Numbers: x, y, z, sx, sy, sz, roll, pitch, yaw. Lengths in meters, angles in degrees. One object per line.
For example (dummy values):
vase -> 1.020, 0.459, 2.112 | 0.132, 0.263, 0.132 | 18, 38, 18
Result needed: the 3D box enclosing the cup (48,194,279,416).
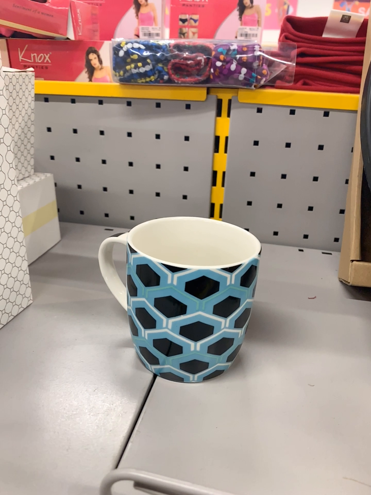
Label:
cup -> -0.014, 0.026, 0.267 | 0.120, 0.090, 0.090 | 16, 27, 28
